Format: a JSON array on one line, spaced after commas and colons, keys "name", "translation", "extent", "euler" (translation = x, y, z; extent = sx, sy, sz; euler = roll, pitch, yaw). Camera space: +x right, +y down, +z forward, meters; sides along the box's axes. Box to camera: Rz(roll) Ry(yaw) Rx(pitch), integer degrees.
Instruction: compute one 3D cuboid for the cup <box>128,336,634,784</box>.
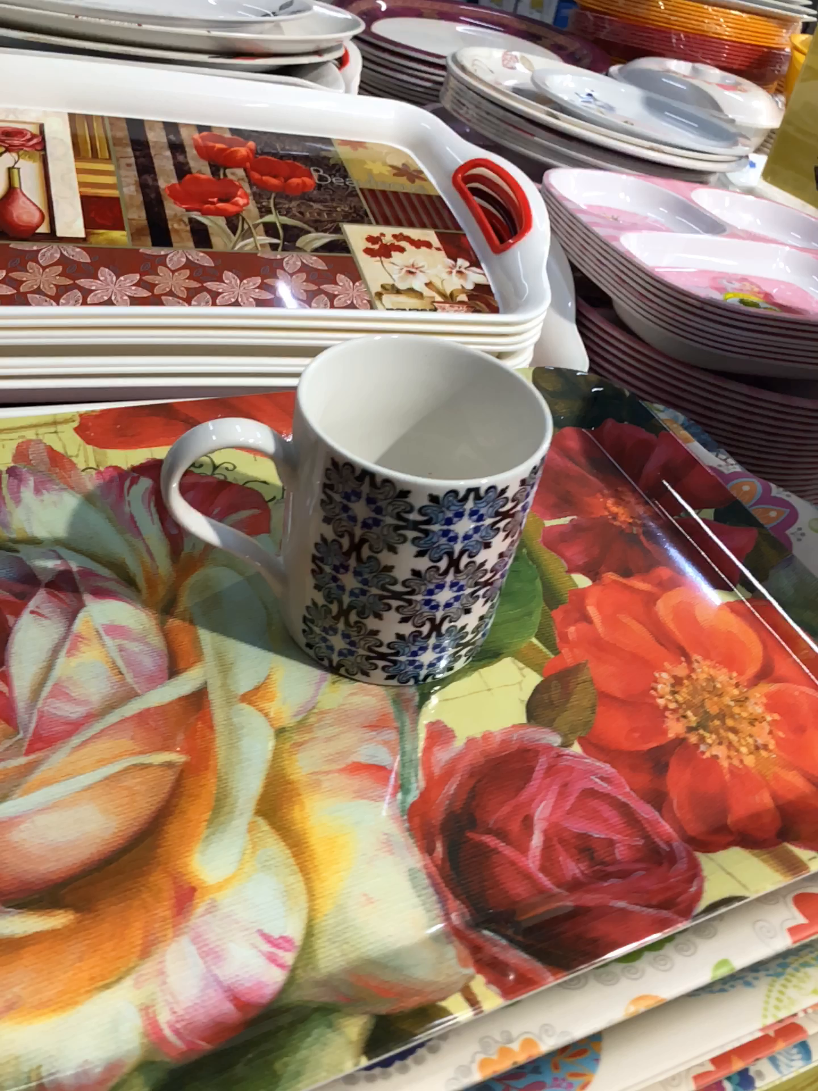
[{"name": "cup", "translation": [-0.018, -0.002, 0.302], "extent": [0.130, 0.099, 0.090], "euler": [-7, 42, -24]}]
